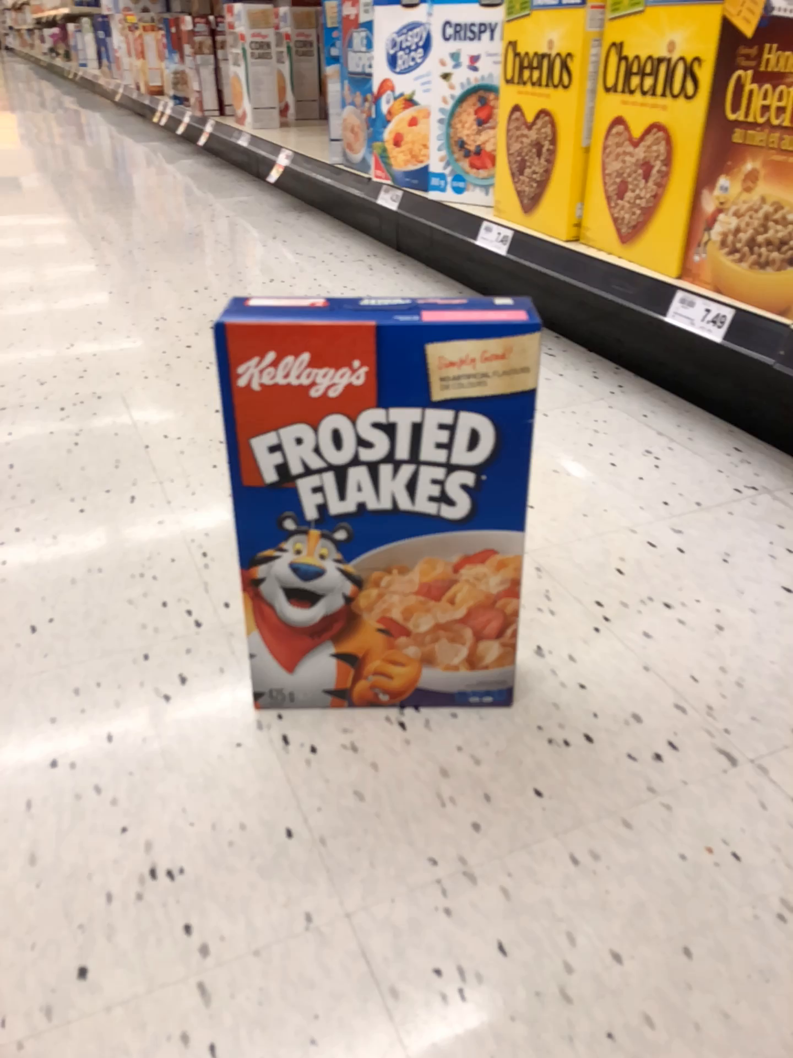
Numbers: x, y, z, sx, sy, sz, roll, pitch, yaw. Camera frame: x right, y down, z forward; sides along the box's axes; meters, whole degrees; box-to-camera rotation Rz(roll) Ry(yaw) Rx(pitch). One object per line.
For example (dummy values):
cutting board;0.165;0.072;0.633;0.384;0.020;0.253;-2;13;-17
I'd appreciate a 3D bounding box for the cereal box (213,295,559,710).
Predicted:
cereal box;-0.007;-0.009;0.597;0.200;0.288;0.070;0;30;-1
